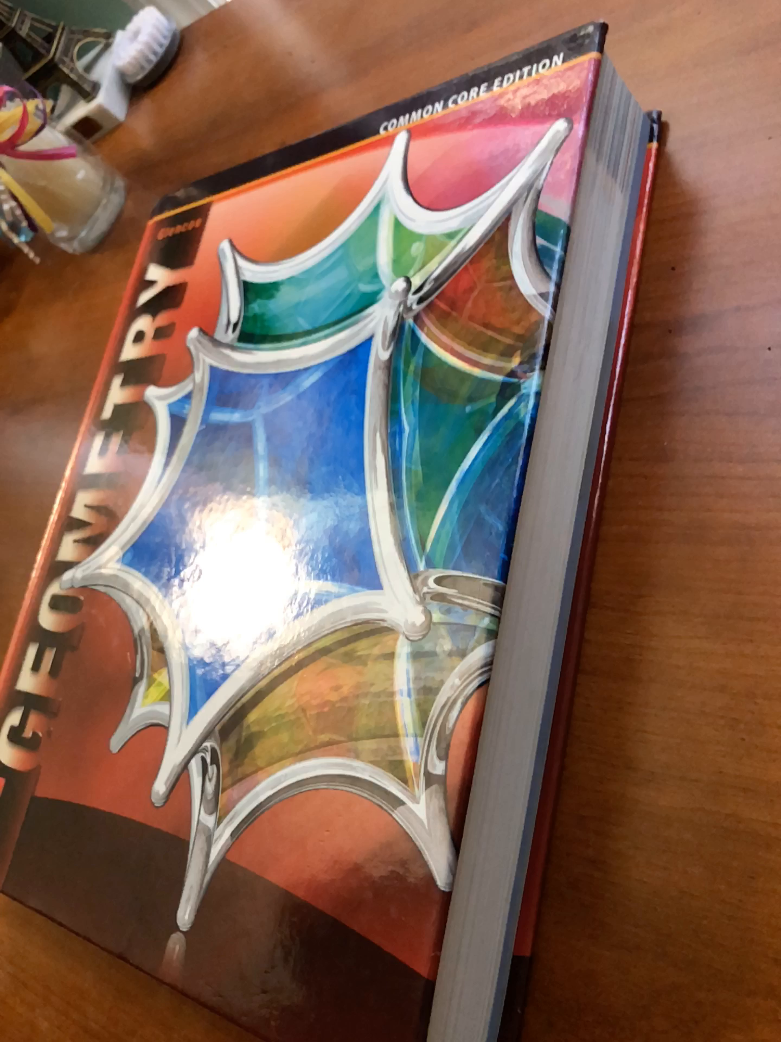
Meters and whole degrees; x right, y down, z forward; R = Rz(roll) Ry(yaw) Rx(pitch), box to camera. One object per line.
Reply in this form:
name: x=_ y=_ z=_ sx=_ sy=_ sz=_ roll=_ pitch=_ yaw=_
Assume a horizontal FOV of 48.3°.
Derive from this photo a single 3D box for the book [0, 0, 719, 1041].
book: x=-0.029 y=-0.014 z=0.302 sx=0.230 sy=0.050 sz=0.310 roll=0 pitch=70 yaw=40
